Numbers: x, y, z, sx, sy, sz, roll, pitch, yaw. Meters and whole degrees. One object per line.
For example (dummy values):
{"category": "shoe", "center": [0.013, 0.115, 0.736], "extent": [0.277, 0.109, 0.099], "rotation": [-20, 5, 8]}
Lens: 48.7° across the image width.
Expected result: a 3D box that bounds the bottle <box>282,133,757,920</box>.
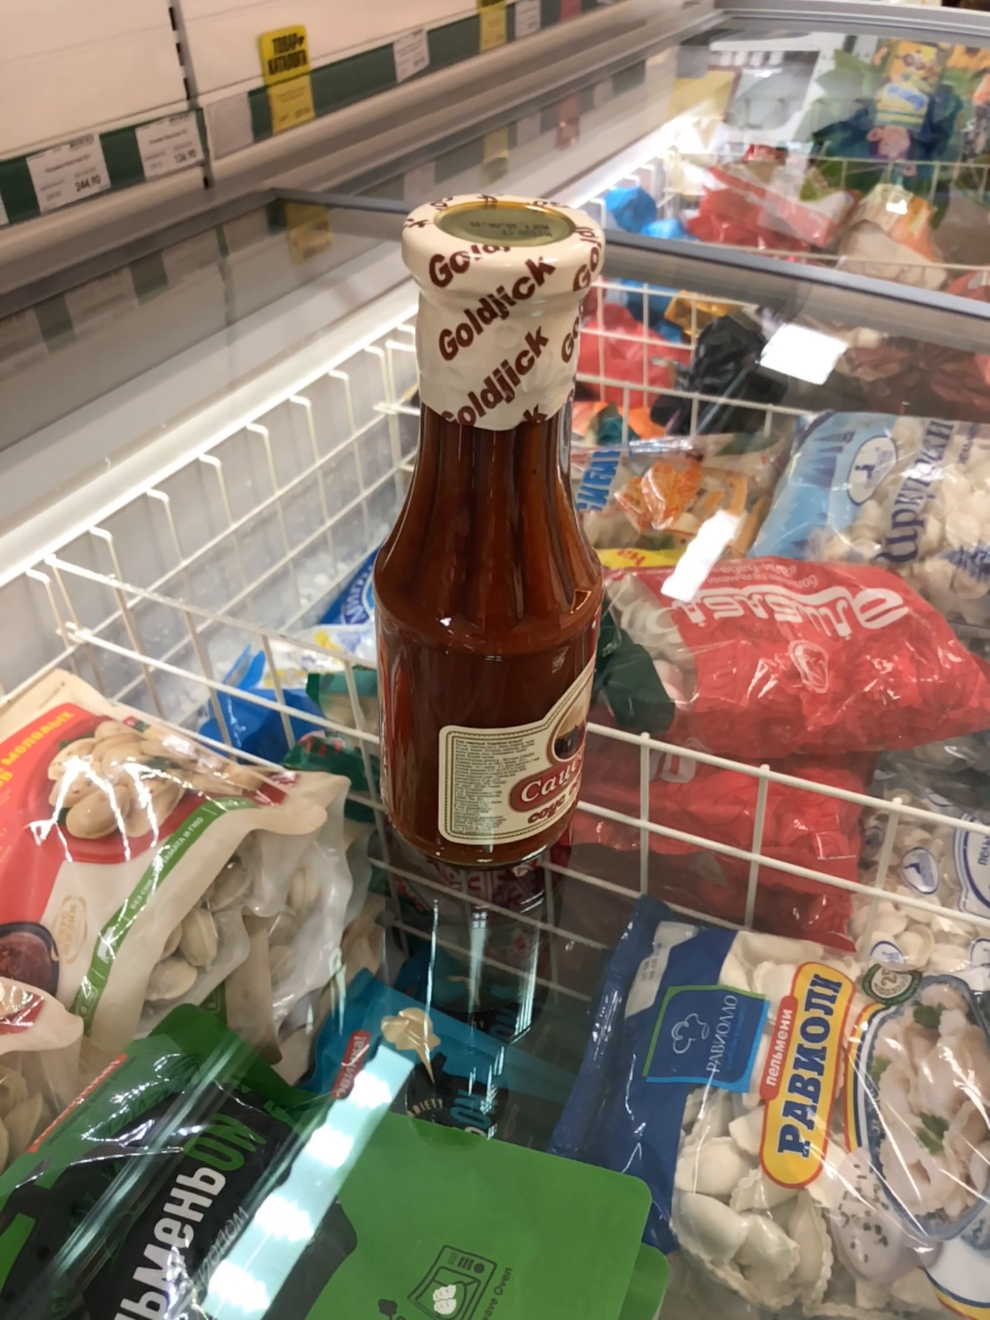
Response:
{"category": "bottle", "center": [0.008, -0.031, 0.291], "extent": [0.080, 0.179, 0.080], "rotation": [1, 38, -1]}
